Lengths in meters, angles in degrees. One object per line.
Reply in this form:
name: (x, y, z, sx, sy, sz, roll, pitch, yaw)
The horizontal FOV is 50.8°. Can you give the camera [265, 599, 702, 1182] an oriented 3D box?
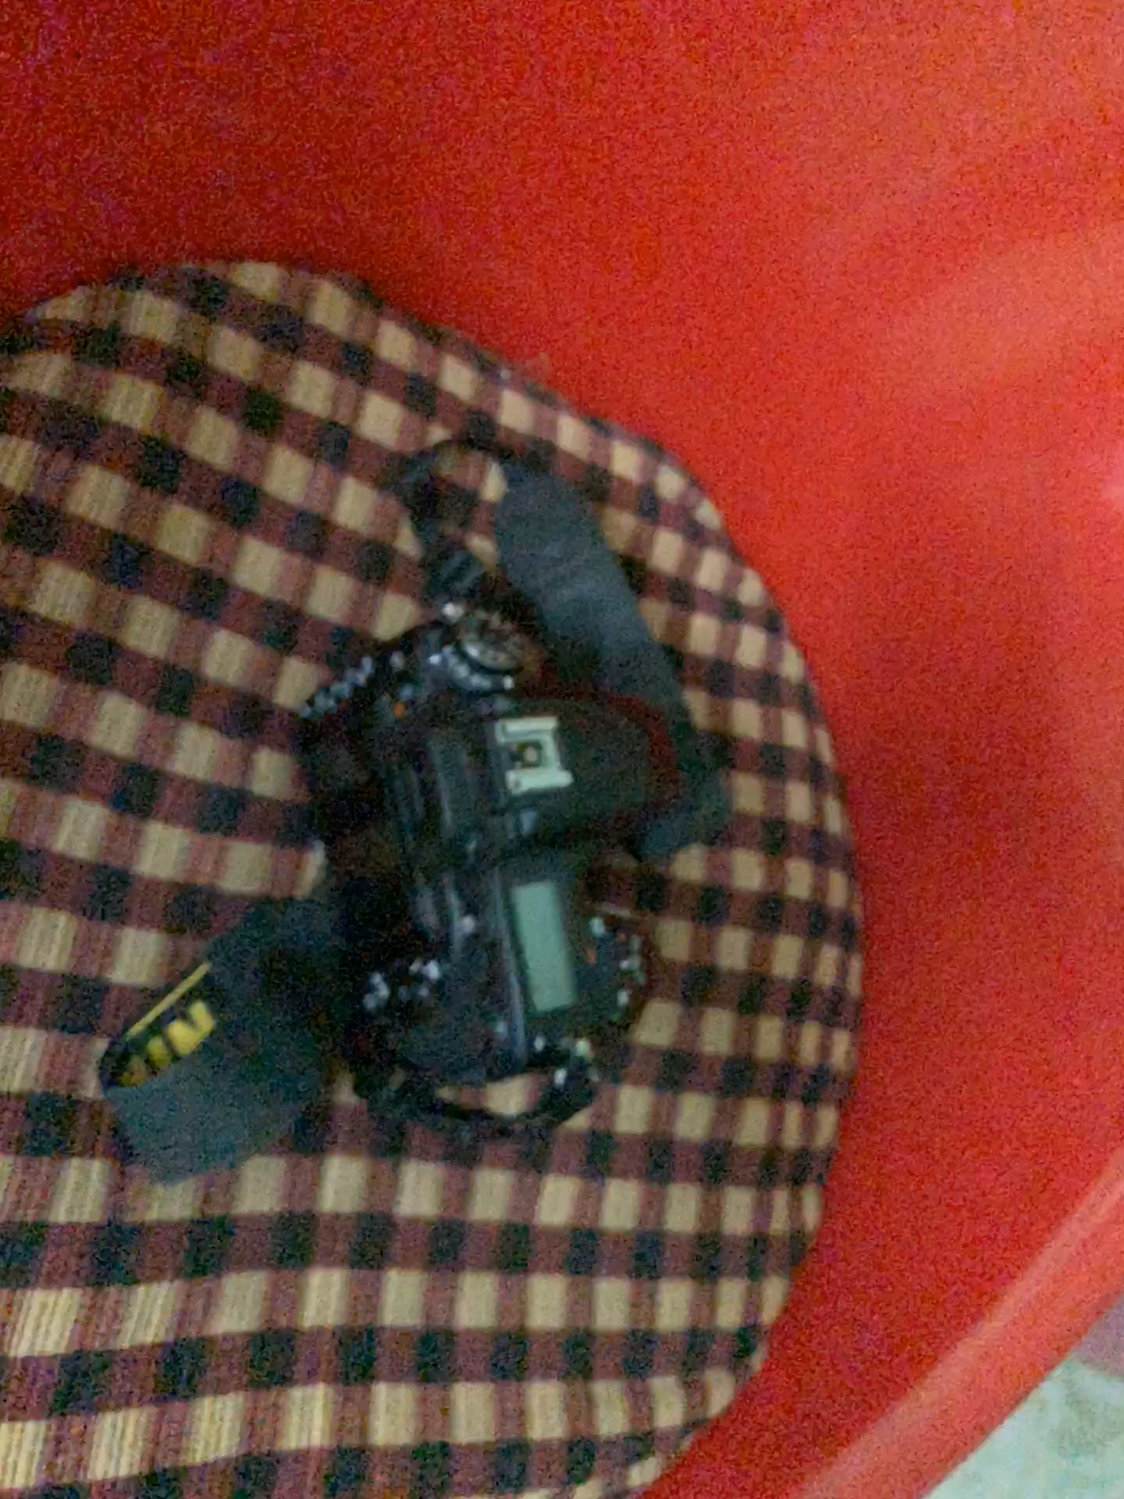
camera: (-0.027, 0.037, 0.344, 0.080, 0.090, 0.140, -2, 84, -34)
